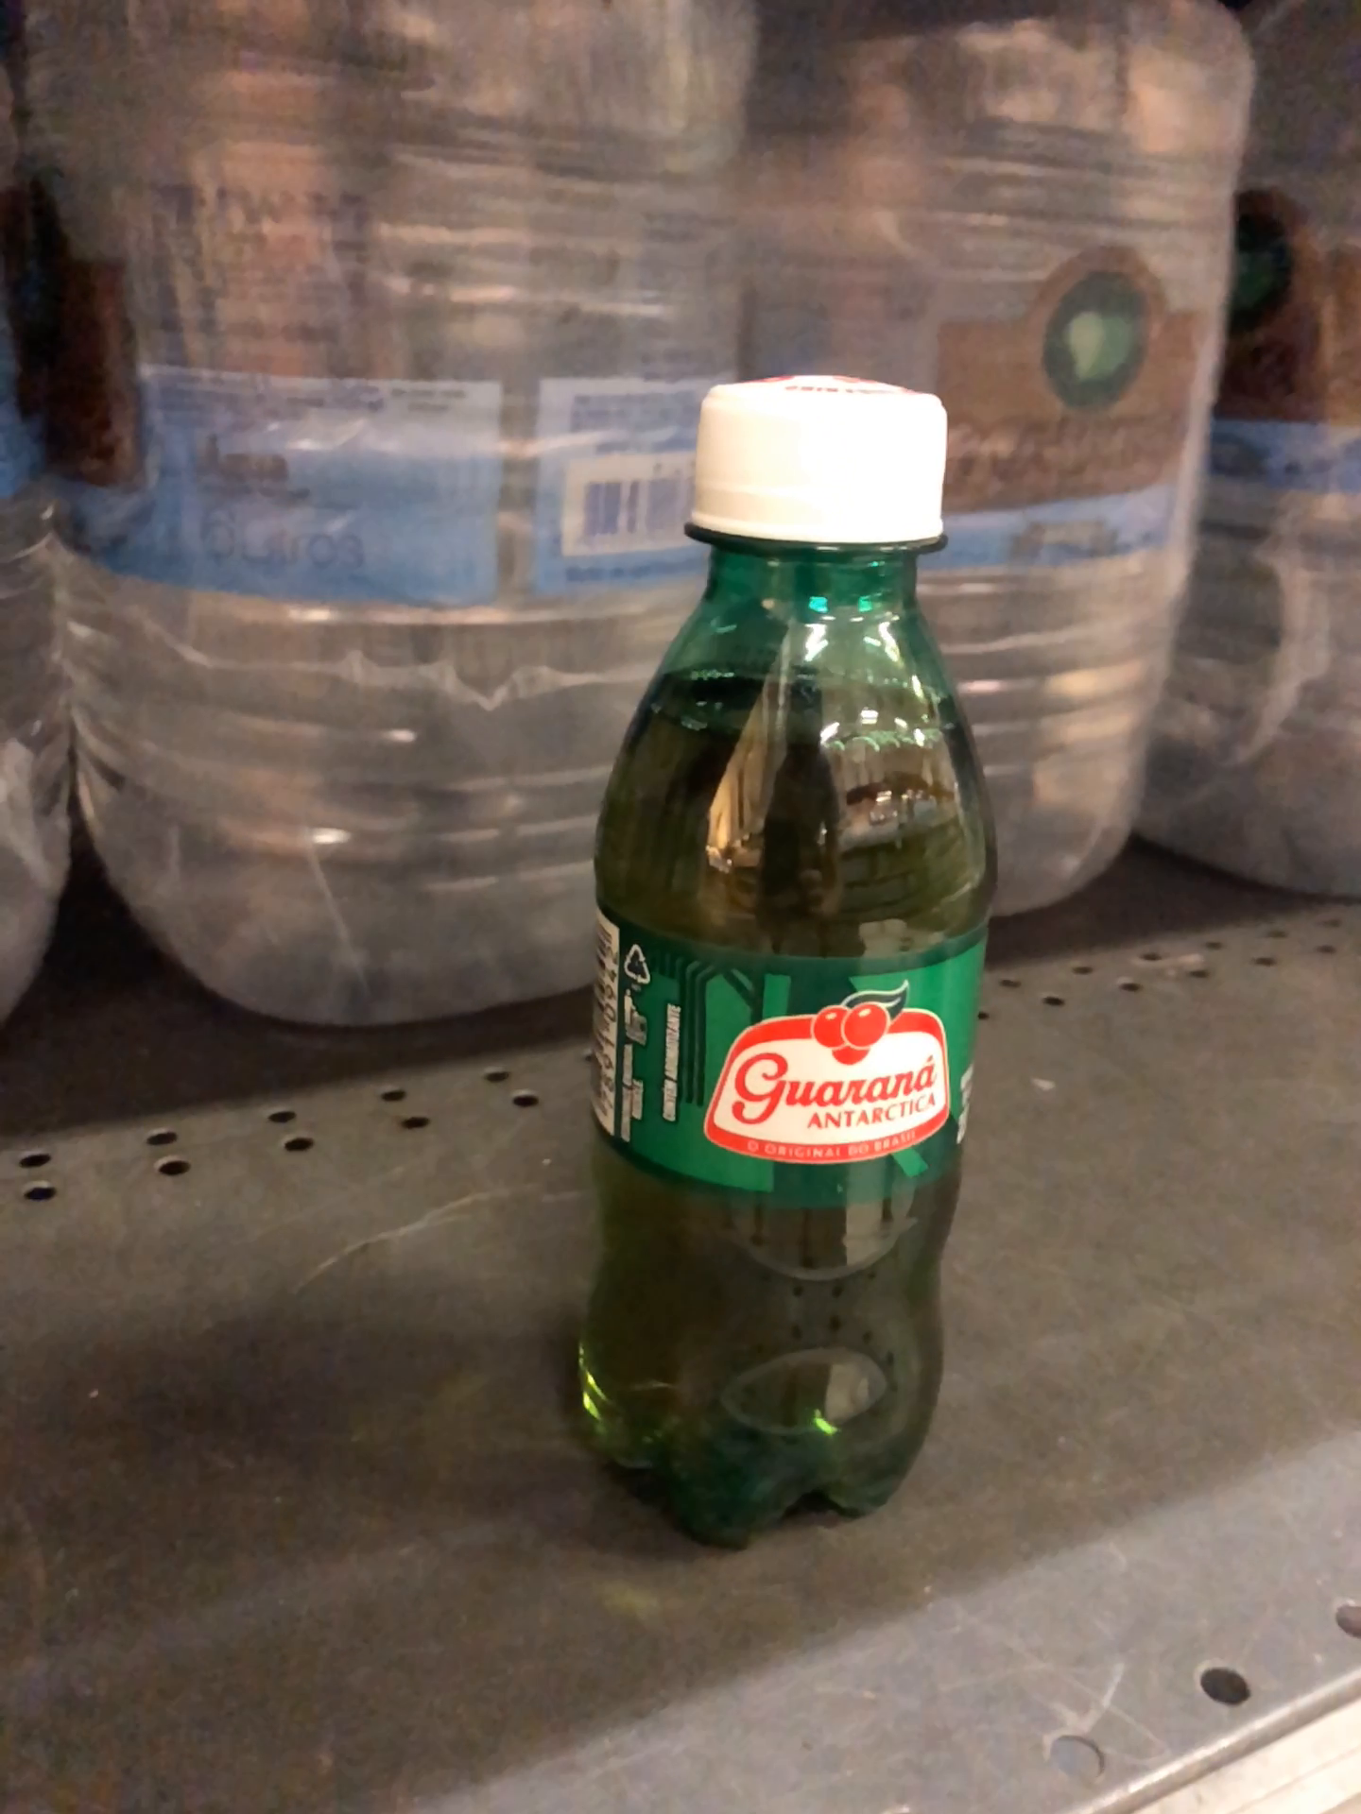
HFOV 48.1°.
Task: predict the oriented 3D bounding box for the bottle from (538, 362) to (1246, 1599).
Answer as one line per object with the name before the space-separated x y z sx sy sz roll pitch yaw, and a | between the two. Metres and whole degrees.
bottle | 0.019 0.007 0.209 0.060 0.149 0.060 3 21 -1
